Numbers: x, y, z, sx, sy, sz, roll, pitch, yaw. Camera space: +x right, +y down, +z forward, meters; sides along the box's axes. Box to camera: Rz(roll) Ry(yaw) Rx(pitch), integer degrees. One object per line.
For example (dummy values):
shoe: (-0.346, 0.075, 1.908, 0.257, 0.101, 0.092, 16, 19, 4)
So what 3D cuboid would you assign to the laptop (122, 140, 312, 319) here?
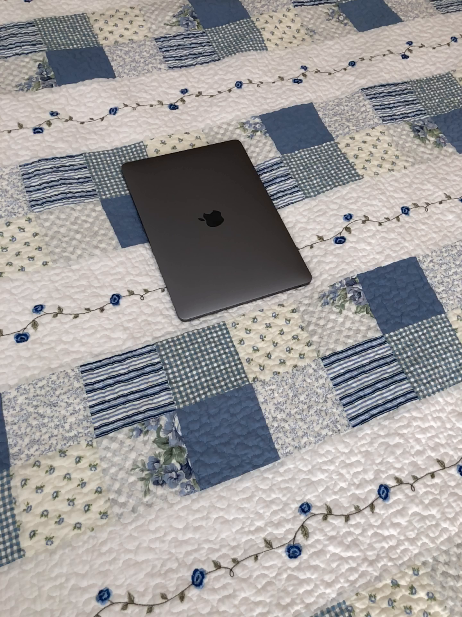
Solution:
laptop: (-0.028, -0.135, 0.778, 0.201, 0.005, 0.290, -17, 65, -15)
